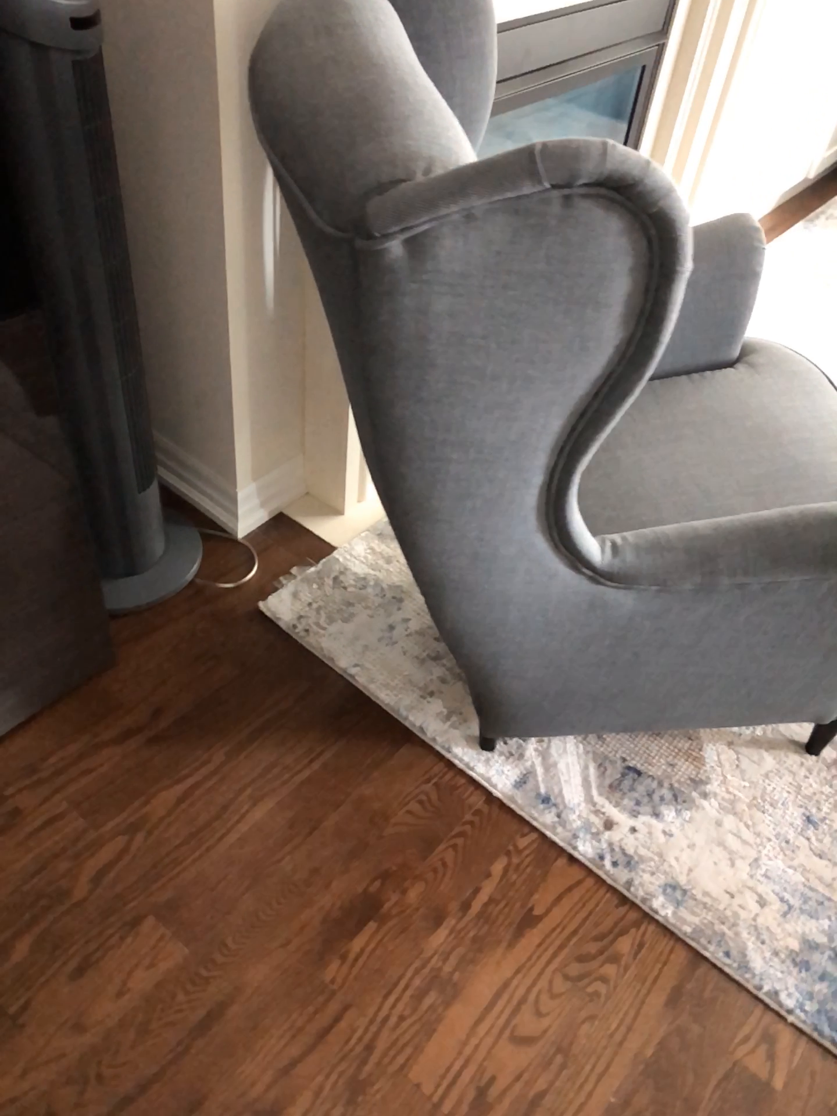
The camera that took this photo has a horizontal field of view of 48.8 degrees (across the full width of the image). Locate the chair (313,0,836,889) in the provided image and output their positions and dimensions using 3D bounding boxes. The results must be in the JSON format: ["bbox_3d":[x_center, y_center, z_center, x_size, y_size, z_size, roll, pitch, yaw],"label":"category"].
[{"bbox_3d":[0.337,-0.215,1.267,0.850,0.966,0.803,-4,45,-12],"label":"chair"}]
